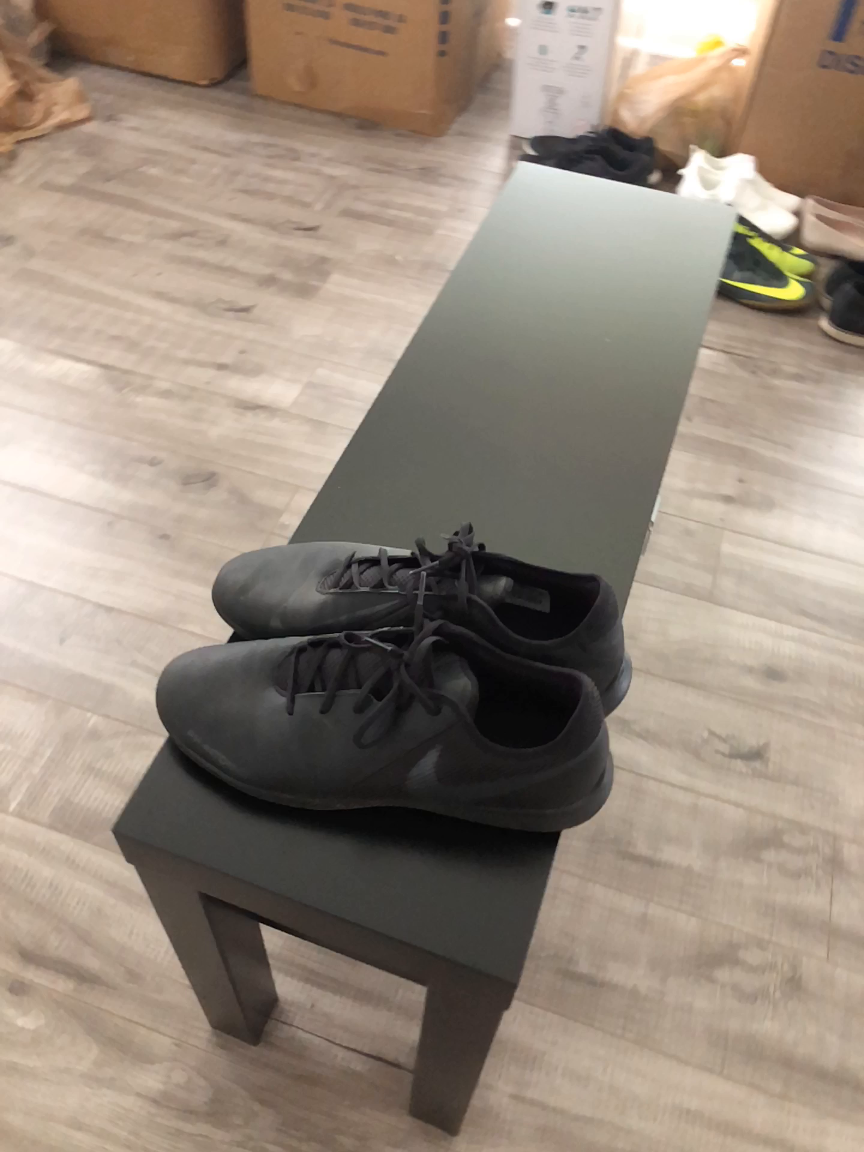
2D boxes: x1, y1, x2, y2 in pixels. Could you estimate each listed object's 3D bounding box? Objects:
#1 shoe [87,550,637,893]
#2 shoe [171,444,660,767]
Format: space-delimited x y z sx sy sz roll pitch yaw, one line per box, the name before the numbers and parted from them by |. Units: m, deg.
shoe | -0.038 0.088 0.577 0.294 0.110 0.100 12 51 6
shoe | -0.011 0.018 0.642 0.294 0.110 0.100 15 51 9
